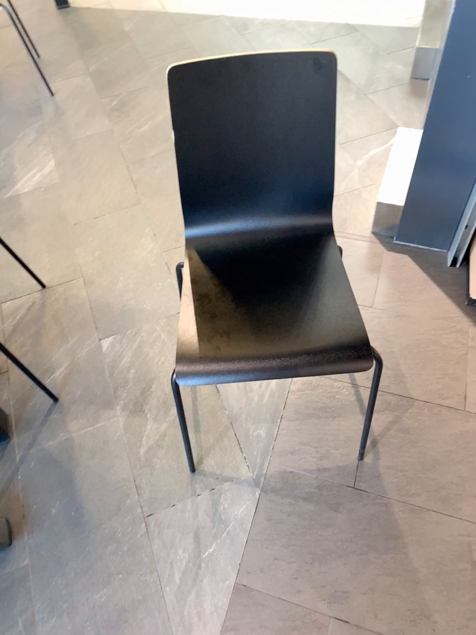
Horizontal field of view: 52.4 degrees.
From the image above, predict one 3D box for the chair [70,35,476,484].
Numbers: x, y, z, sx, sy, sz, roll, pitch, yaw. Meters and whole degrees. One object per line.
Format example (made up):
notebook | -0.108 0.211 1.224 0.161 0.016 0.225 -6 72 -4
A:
chair | 0.075 -0.041 1.073 0.520 0.837 0.522 -4 53 2
